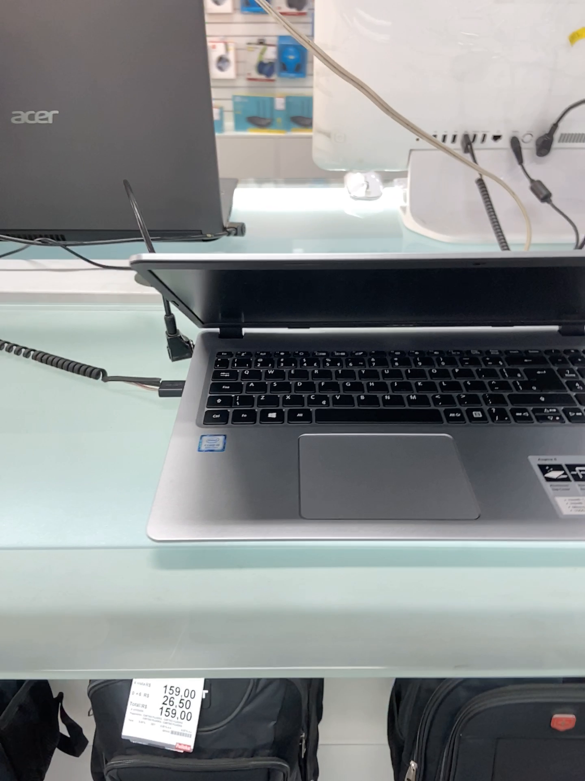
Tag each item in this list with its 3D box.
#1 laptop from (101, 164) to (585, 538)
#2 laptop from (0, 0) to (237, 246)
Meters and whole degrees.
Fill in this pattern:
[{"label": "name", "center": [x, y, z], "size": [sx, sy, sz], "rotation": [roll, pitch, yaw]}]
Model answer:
[{"label": "laptop", "center": [0.100, -0.046, 0.395], "size": [0.360, 0.138, 0.237], "rotation": [-1, 34, -1]}, {"label": "laptop", "center": [-0.273, -0.360, 0.765], "size": [0.363, 0.249, 0.266], "rotation": [0, 35, -1]}]
